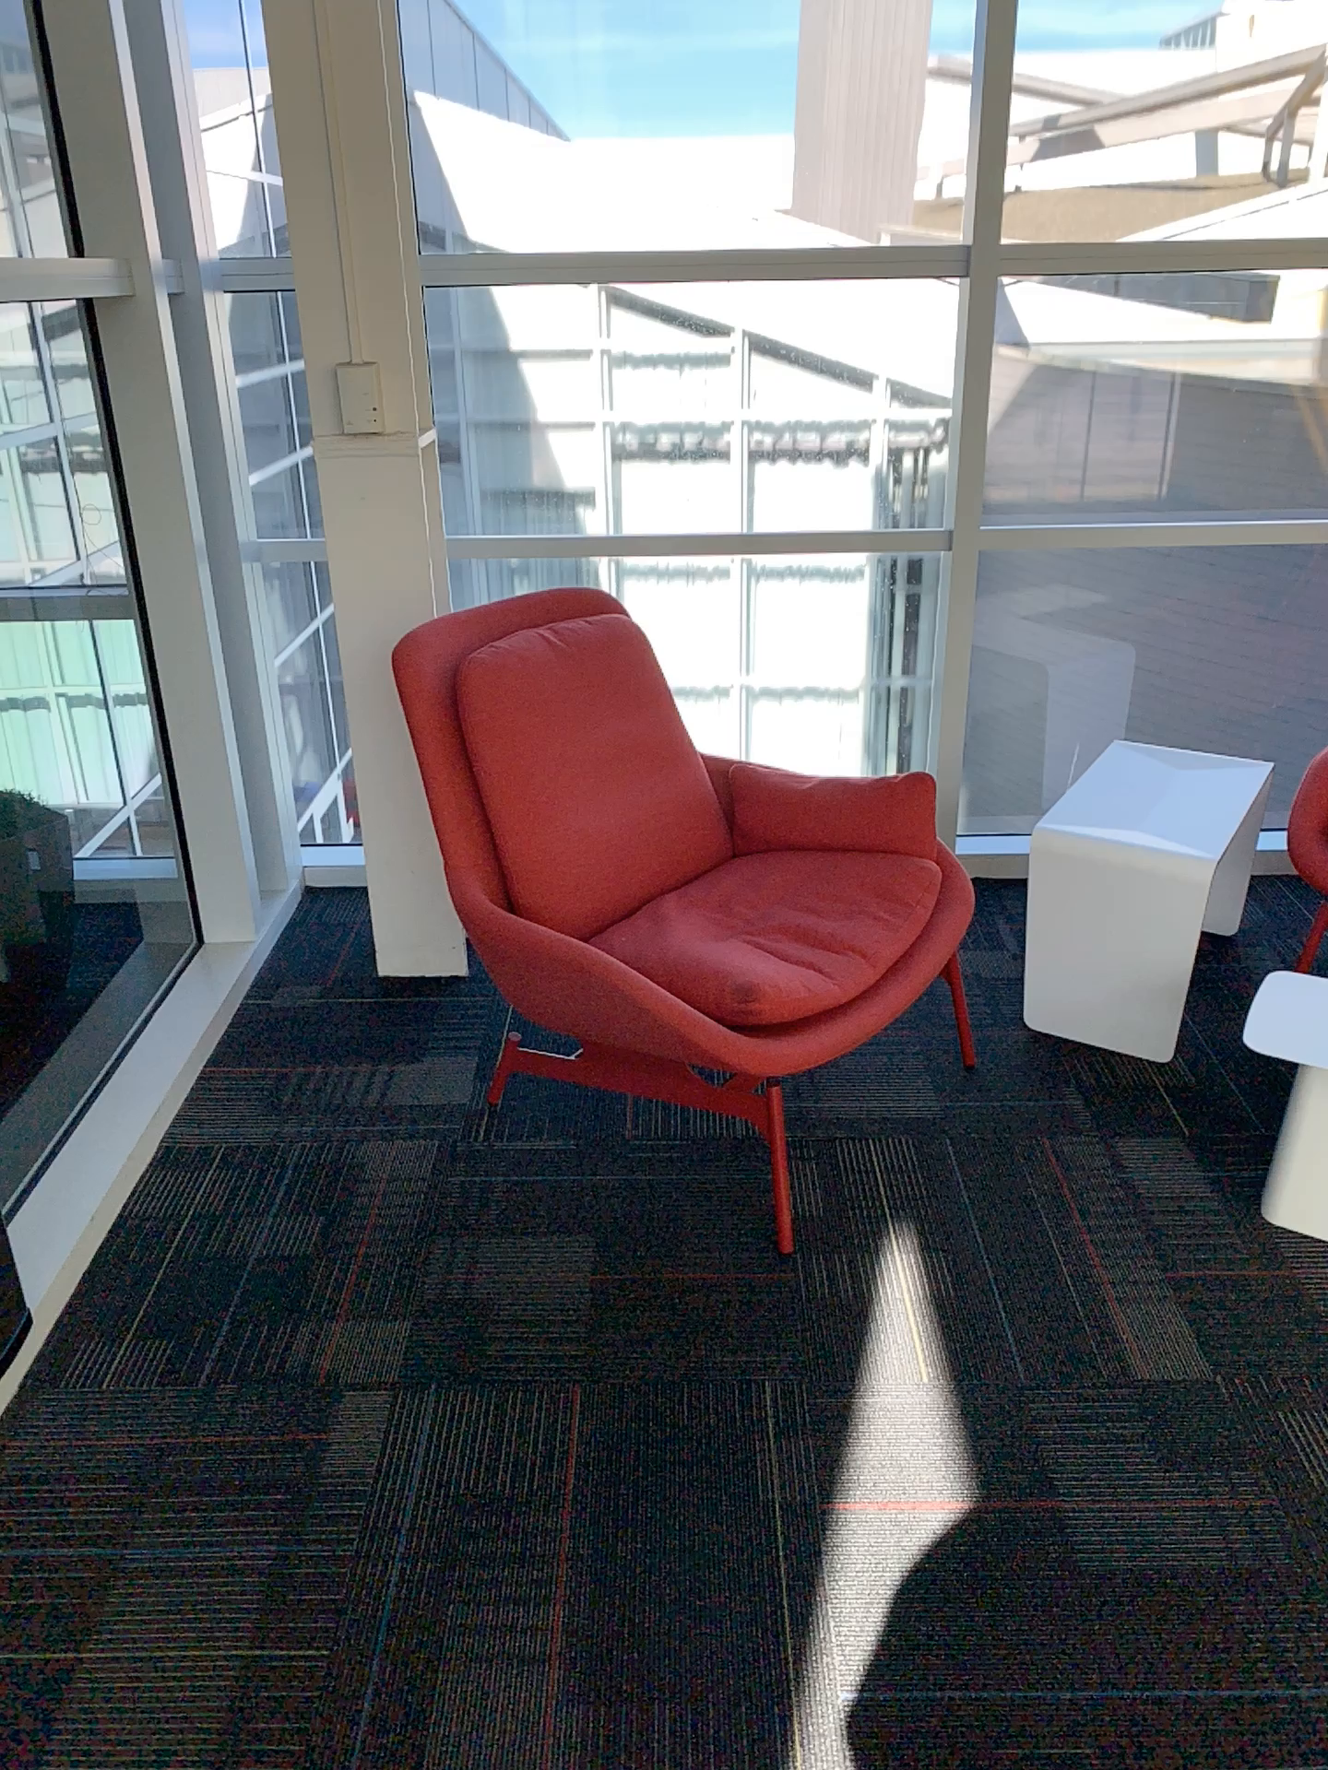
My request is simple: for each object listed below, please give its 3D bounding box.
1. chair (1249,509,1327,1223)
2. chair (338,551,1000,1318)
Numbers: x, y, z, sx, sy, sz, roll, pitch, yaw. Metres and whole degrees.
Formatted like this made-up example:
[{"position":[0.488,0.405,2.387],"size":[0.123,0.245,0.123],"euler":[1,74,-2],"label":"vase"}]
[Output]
[{"position":[1.841,-0.136,2.708],"size":[0.873,0.994,0.922],"euler":[17,30,35],"label":"chair"},{"position":[0.043,0.004,2.618],"size":[0.823,1.054,0.872],"euler":[16,30,33],"label":"chair"}]
